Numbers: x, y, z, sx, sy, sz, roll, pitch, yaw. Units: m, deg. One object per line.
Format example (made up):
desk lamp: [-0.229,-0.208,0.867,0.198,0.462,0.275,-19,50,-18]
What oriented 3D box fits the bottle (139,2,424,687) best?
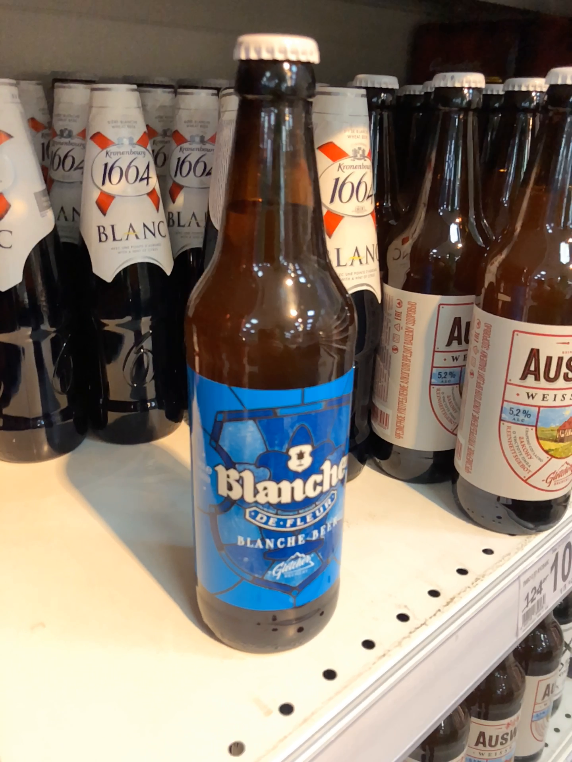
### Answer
bottle: [-0.007,-0.005,0.256,0.070,0.244,0.070,1,23,0]
